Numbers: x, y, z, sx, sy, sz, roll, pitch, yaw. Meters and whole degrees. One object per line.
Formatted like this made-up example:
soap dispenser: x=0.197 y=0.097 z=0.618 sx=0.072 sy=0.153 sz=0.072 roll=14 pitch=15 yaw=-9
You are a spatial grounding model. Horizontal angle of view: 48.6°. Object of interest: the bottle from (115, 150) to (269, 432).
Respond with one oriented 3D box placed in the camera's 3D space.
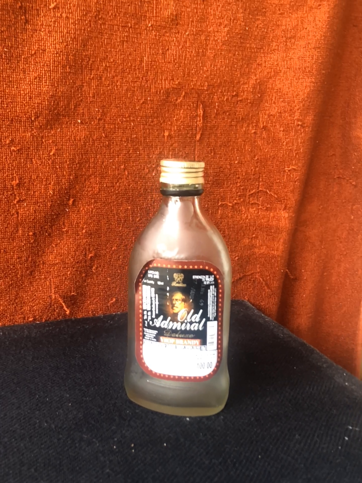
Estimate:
bottle: x=0.005 y=0.026 z=0.238 sx=0.070 sy=0.150 sz=0.050 roll=6 pitch=14 yaw=6
